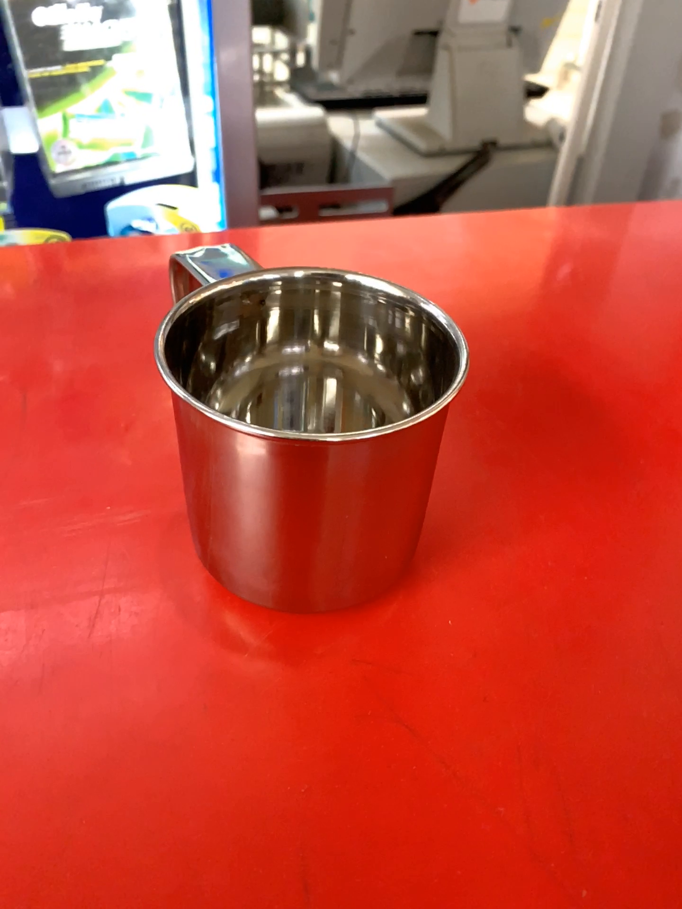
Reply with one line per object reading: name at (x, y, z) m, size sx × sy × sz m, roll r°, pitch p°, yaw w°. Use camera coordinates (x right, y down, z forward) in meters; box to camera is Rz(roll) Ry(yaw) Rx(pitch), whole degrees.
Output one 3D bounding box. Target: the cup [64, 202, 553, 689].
cup at (-0.016, -0.013, 0.200) m, size 0.079 × 0.065 × 0.110 m, roll -19°, pitch 45°, yaw -24°
